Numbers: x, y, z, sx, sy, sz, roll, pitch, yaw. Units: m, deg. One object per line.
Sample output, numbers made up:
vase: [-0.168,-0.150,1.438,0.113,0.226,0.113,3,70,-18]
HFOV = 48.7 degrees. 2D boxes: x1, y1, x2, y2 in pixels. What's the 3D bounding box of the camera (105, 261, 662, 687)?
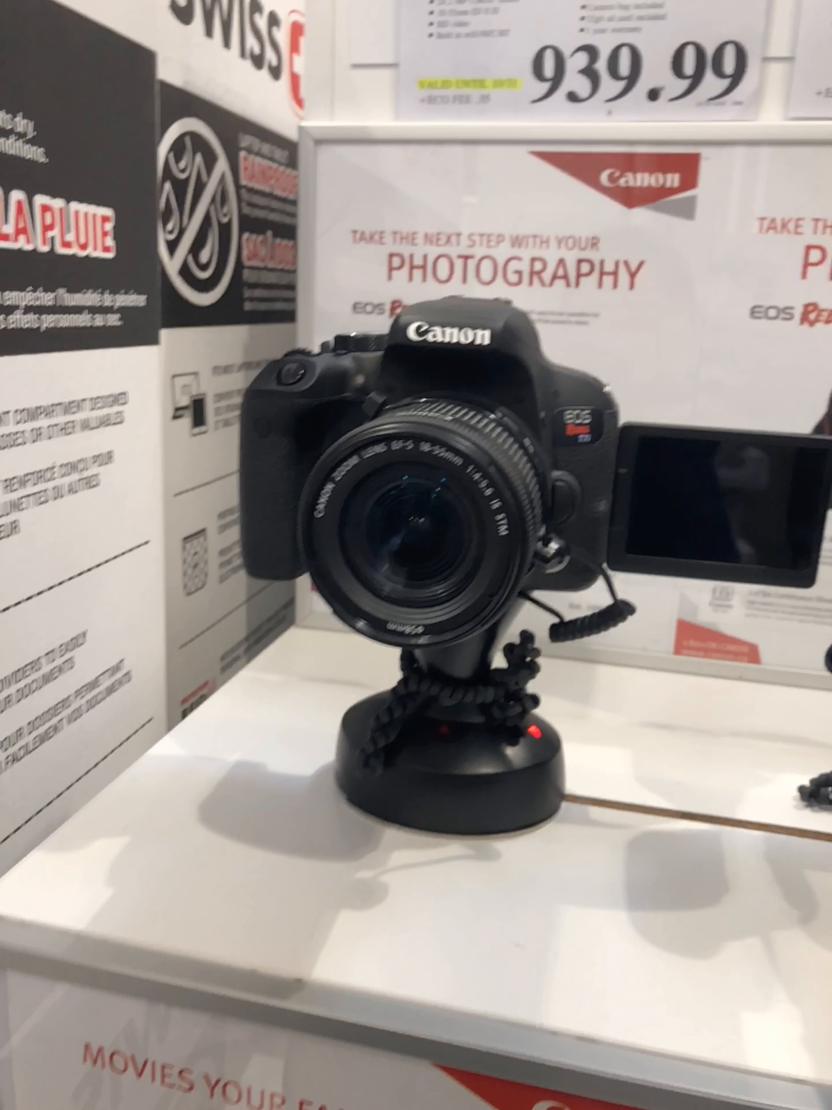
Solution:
camera: [0.002,-0.040,0.308,0.140,0.100,0.151,5,15,11]
